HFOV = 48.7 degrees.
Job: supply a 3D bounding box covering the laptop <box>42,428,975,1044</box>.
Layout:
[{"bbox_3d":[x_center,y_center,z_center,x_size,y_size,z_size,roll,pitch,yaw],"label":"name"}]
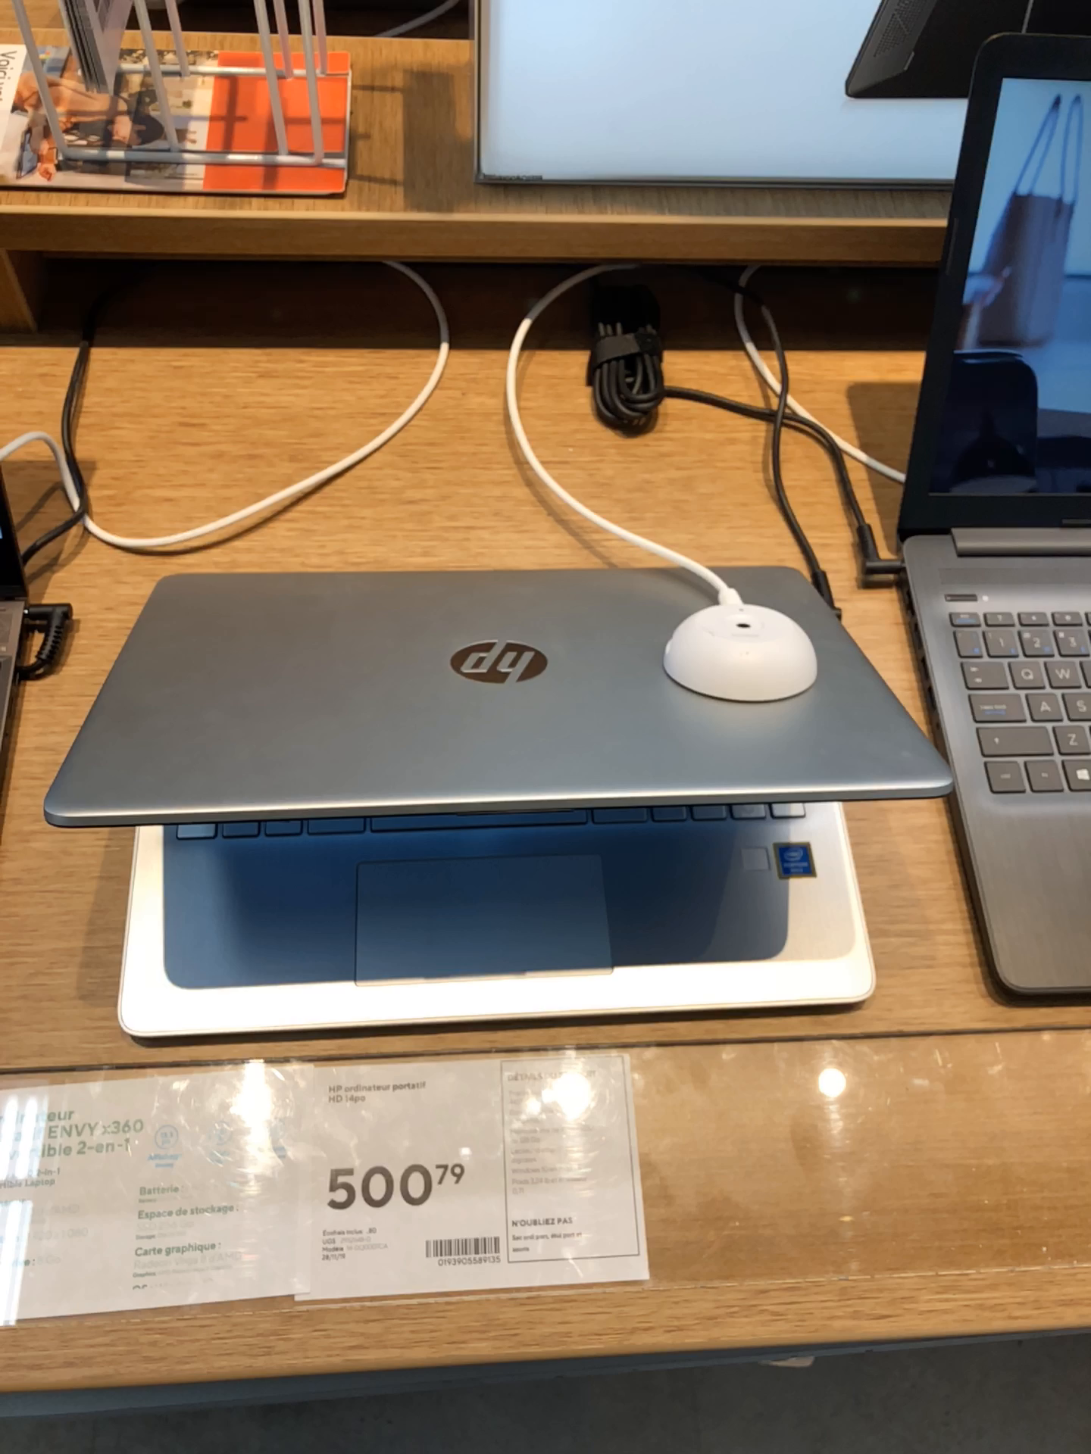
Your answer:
[{"bbox_3d":[-0.018,0.001,0.501,0.314,0.110,0.217,-2,64,-4],"label":"laptop"}]
